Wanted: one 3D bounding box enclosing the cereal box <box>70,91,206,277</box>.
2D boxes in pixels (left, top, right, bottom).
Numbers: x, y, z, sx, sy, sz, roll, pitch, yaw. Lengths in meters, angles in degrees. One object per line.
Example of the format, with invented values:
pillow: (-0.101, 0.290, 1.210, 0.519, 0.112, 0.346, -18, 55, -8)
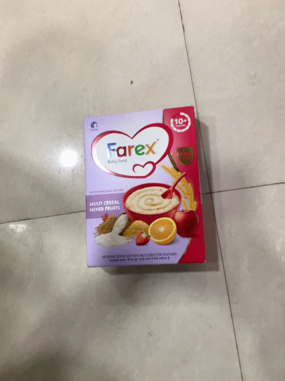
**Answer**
cereal box: (-0.007, -0.006, 0.372, 0.150, 0.060, 0.210, -4, 83, 6)
